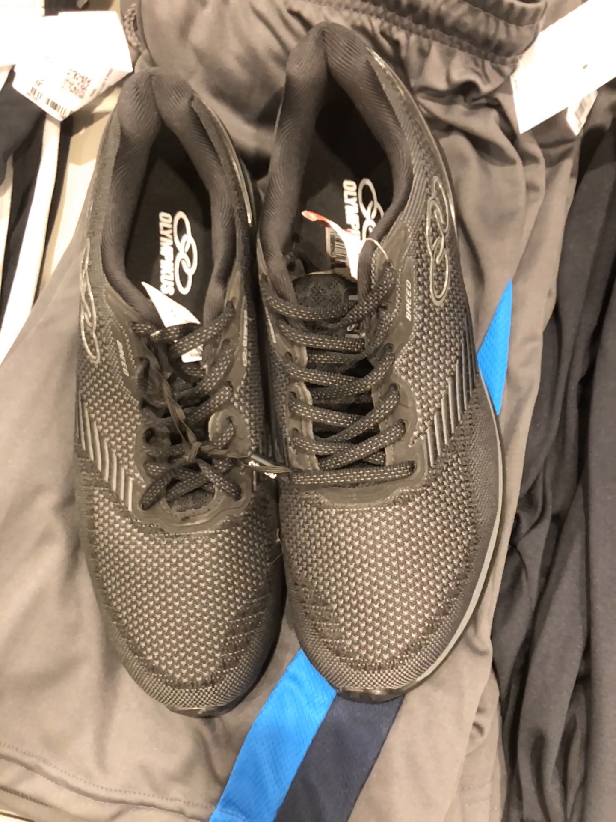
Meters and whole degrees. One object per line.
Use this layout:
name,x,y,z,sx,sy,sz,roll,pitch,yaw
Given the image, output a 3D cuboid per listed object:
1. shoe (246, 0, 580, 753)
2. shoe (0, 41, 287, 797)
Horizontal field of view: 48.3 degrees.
shoe,0.035,-0.026,0.284,0.100,0.100,0.280,-3,80,7
shoe,-0.069,0.000,0.297,0.100,0.100,0.270,-3,80,7
